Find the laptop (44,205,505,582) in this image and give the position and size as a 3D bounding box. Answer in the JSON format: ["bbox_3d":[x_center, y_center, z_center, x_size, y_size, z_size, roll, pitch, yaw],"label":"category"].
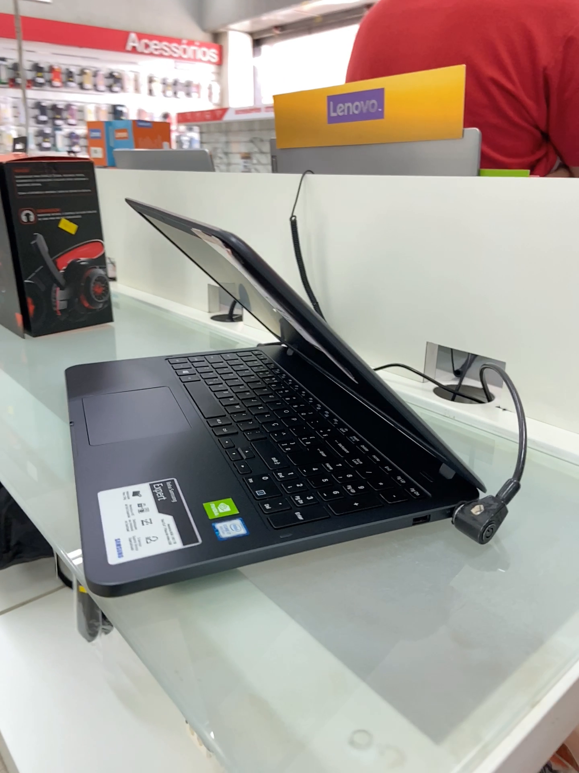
[{"bbox_3d":[-0.057,-0.048,0.470,0.231,0.158,0.358,-8,21,-20],"label":"laptop"}]
